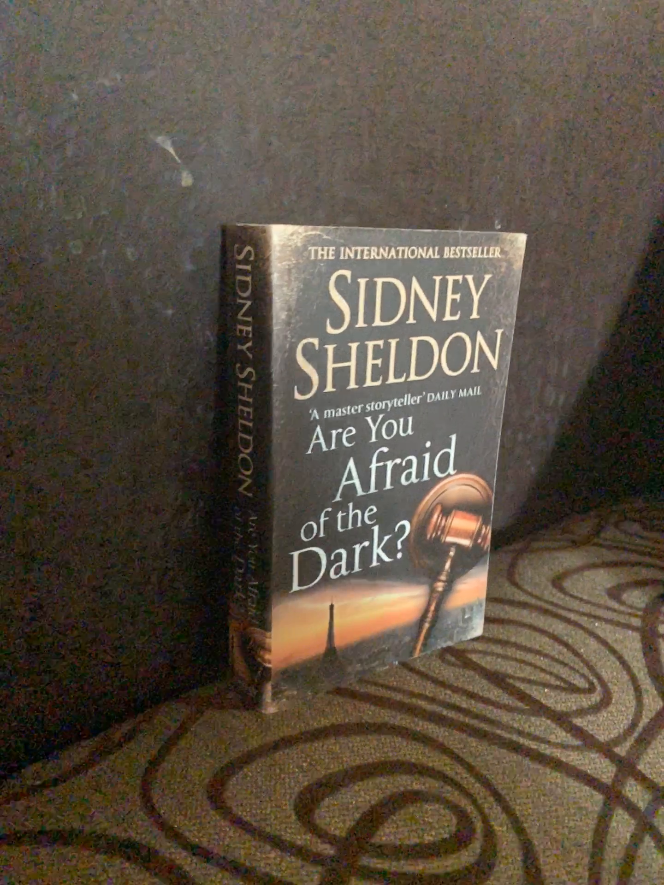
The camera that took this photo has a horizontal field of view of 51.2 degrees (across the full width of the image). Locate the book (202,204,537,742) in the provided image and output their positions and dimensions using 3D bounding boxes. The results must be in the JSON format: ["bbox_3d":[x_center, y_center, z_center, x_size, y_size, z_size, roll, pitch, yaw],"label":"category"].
[{"bbox_3d":[0.015,0.007,0.272,0.120,0.179,0.040,-7,18,-37],"label":"book"}]
